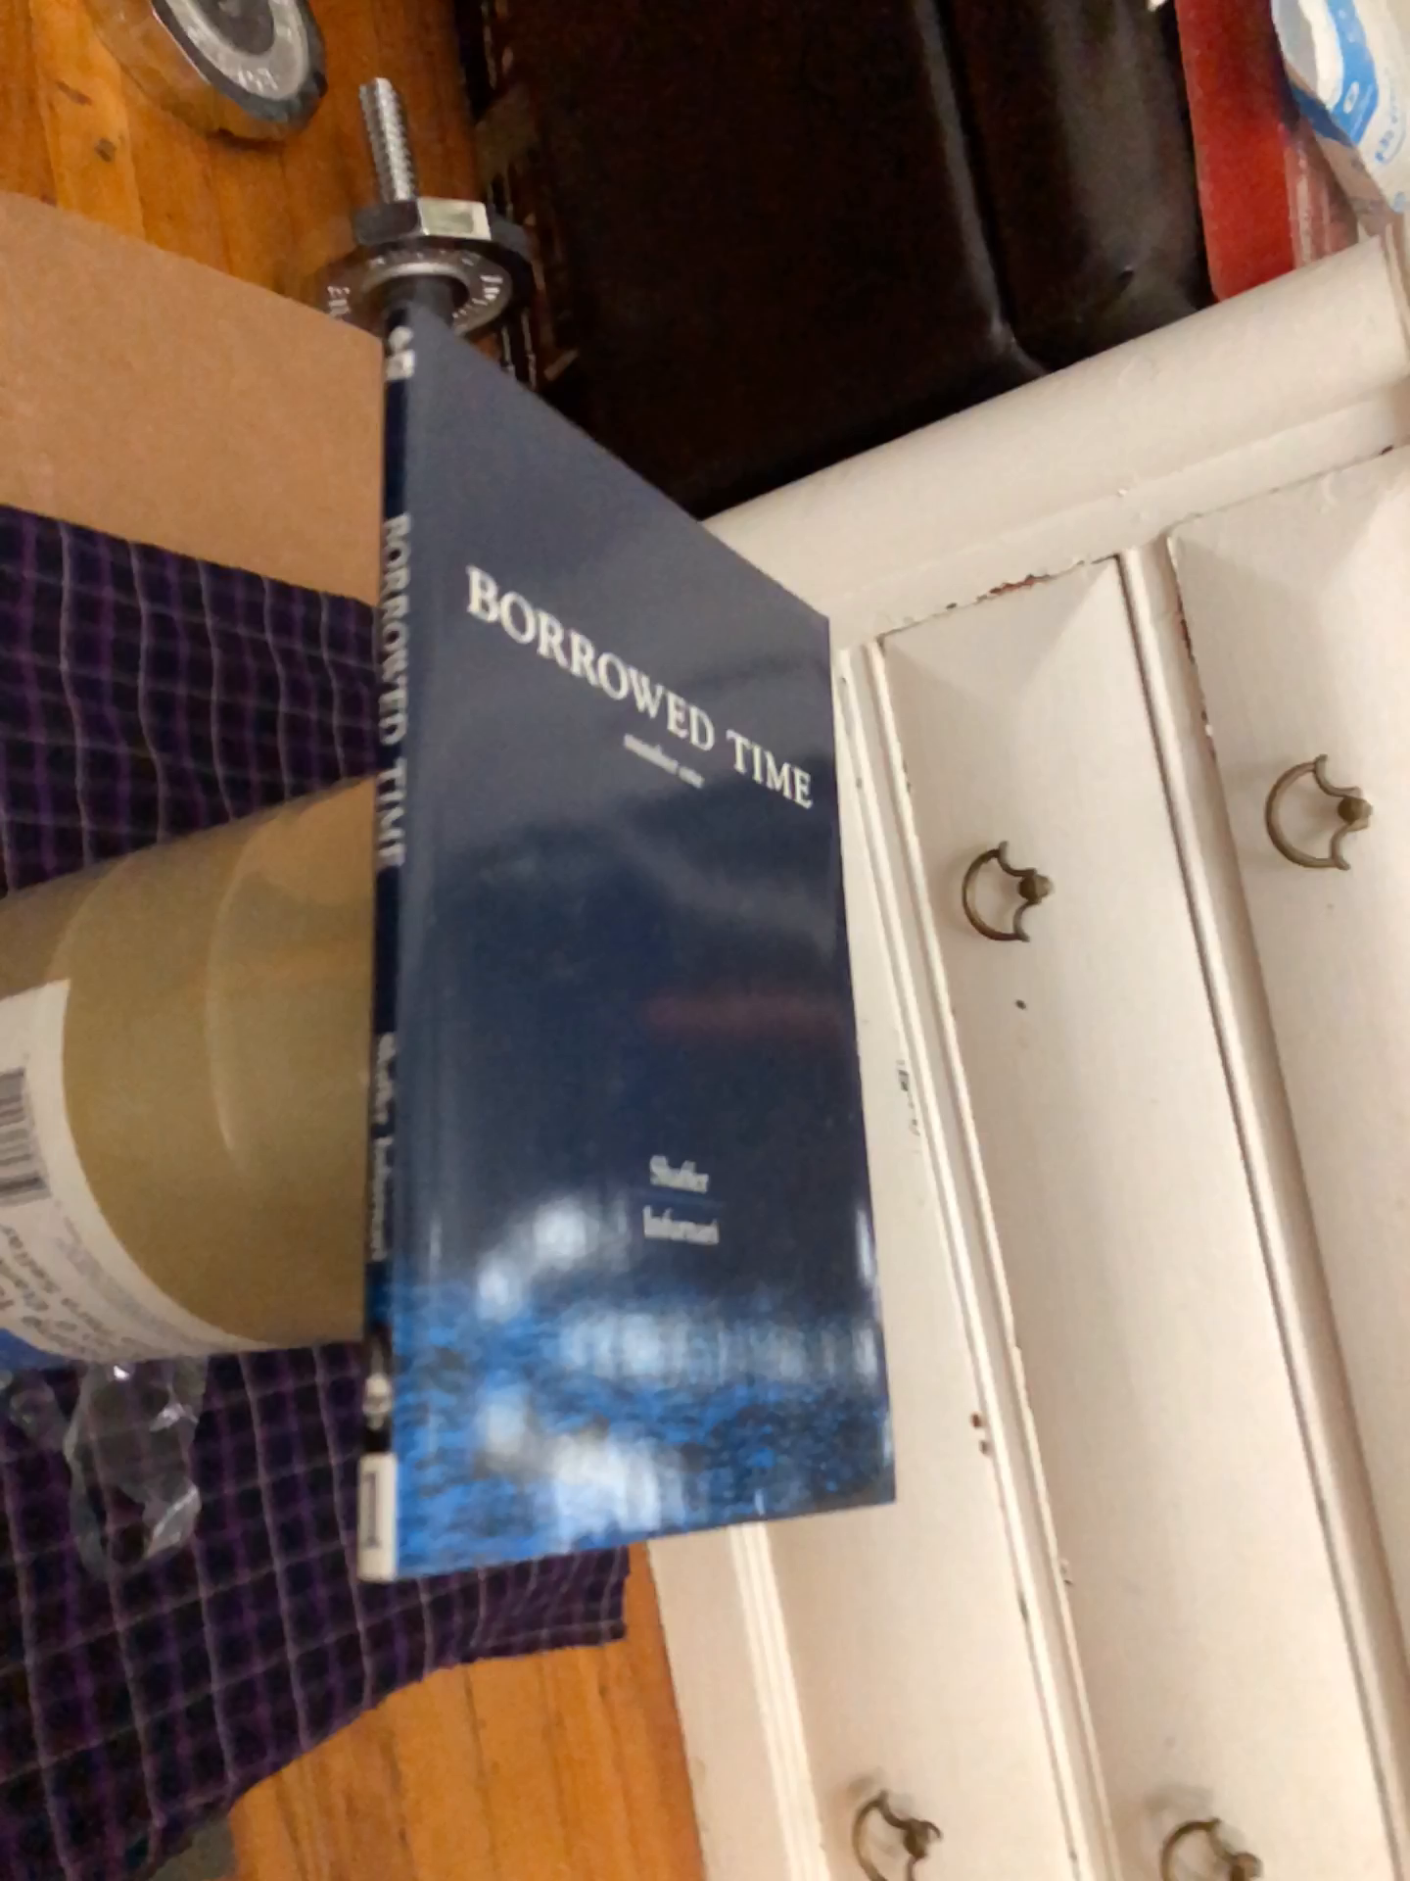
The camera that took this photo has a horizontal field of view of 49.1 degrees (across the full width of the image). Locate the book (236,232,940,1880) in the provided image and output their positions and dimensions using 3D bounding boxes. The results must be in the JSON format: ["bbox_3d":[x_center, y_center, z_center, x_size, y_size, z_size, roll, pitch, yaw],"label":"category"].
[{"bbox_3d":[-0.011,0.017,0.272,0.161,0.010,0.230,24,56,-53],"label":"book"}]
